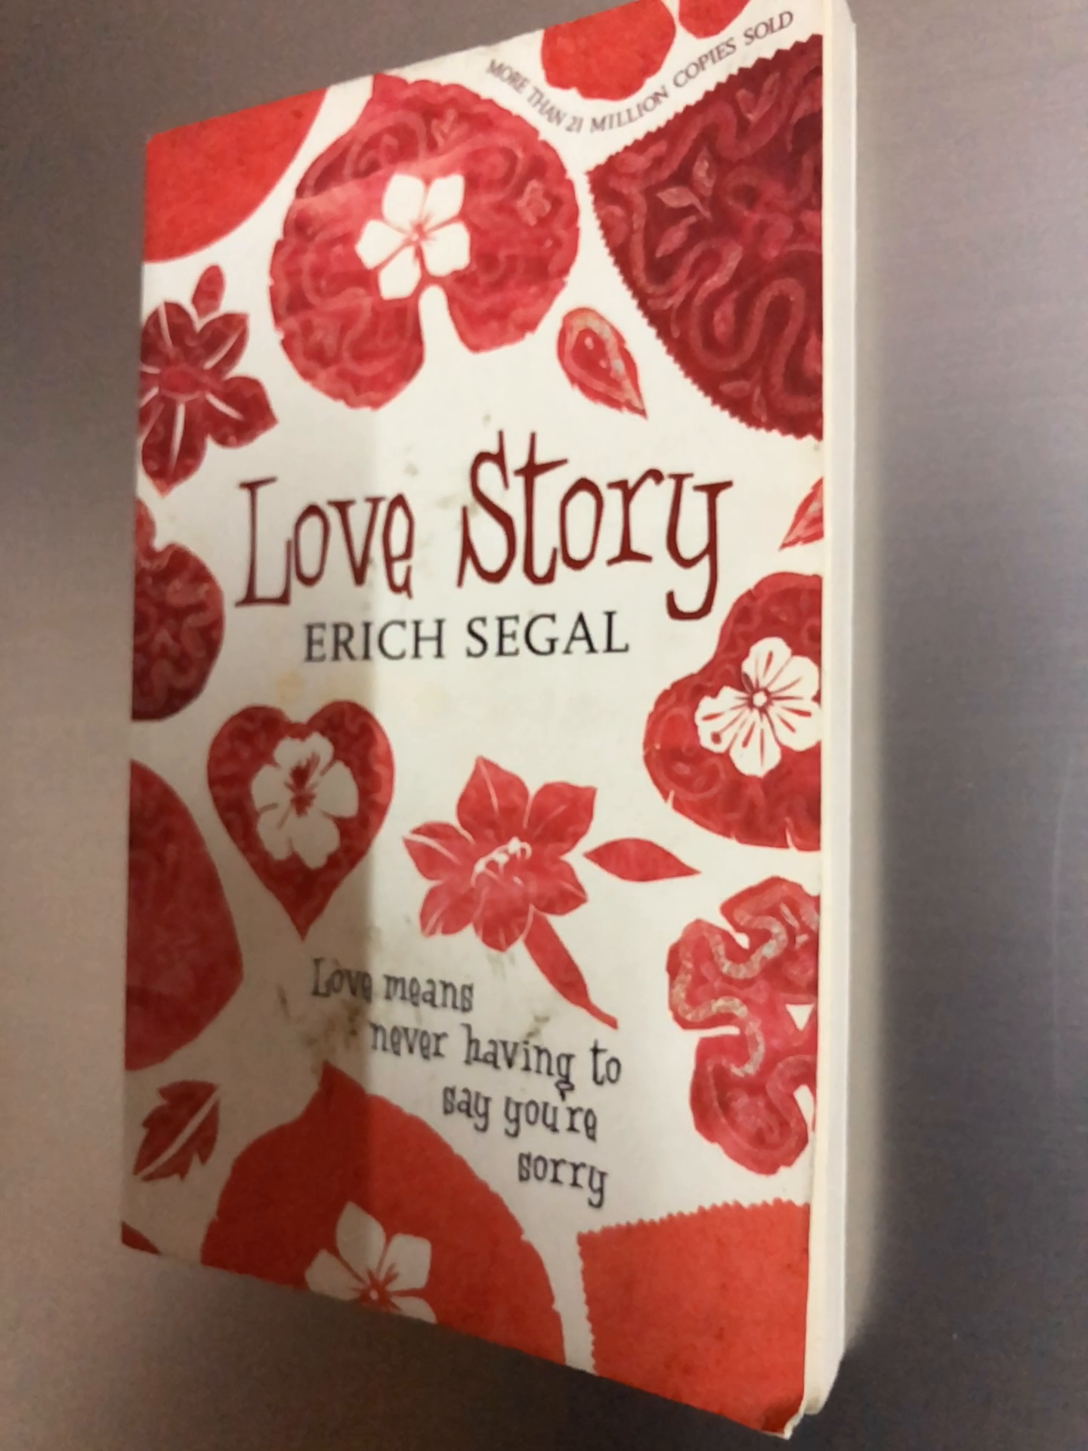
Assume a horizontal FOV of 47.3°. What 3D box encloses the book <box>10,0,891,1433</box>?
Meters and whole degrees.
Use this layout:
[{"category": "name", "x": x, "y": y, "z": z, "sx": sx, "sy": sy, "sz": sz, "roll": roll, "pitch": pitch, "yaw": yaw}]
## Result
[{"category": "book", "x": -0.016, "y": -0.014, "z": 0.176, "sx": 0.120, "sy": 0.030, "sz": 0.180, "roll": 0, "pitch": 87, "yaw": 25}]
